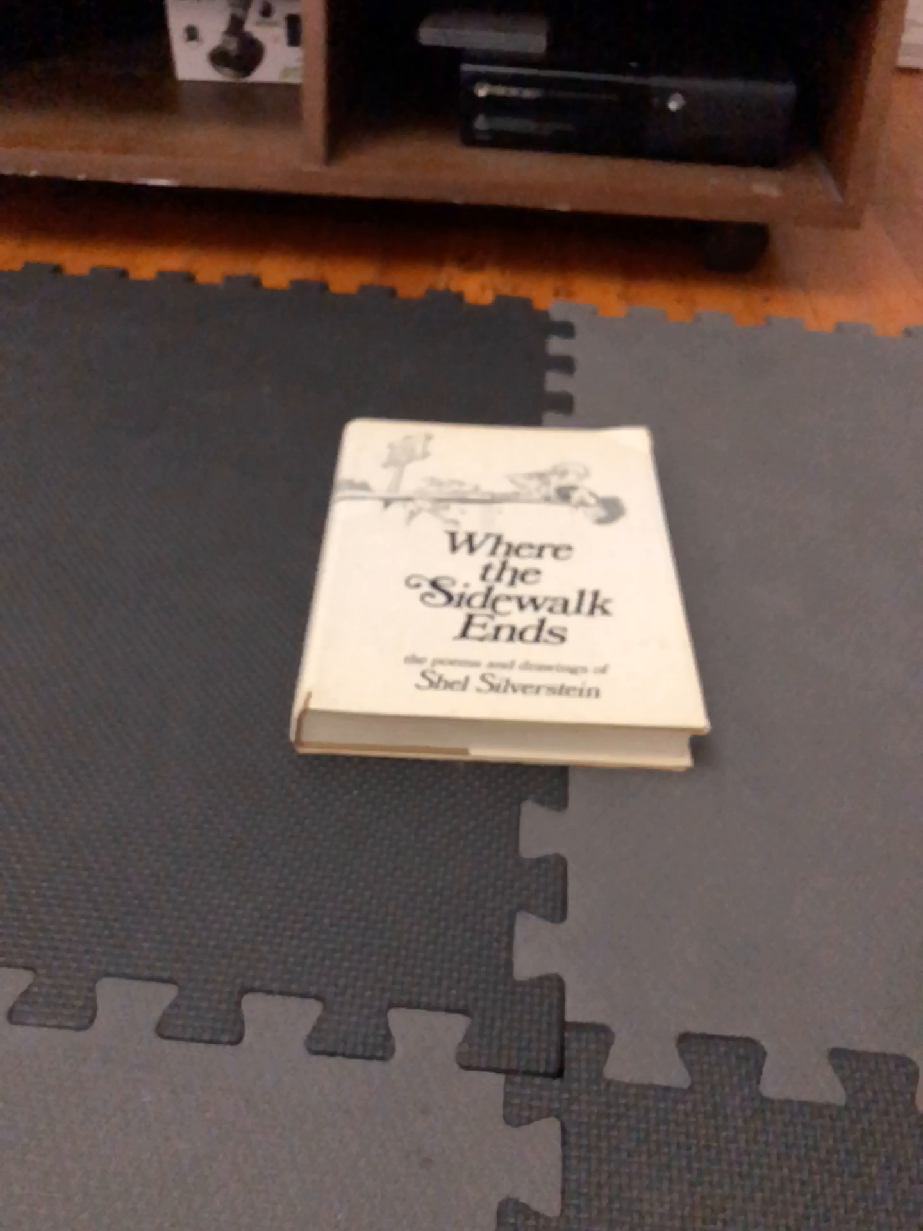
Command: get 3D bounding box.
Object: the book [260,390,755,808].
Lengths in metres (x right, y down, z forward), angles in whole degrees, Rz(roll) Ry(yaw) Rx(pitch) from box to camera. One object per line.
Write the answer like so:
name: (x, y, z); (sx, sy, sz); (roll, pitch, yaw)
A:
book: (0.023, -0.028, 0.533); (0.200, 0.030, 0.282); (3, 42, 0)
